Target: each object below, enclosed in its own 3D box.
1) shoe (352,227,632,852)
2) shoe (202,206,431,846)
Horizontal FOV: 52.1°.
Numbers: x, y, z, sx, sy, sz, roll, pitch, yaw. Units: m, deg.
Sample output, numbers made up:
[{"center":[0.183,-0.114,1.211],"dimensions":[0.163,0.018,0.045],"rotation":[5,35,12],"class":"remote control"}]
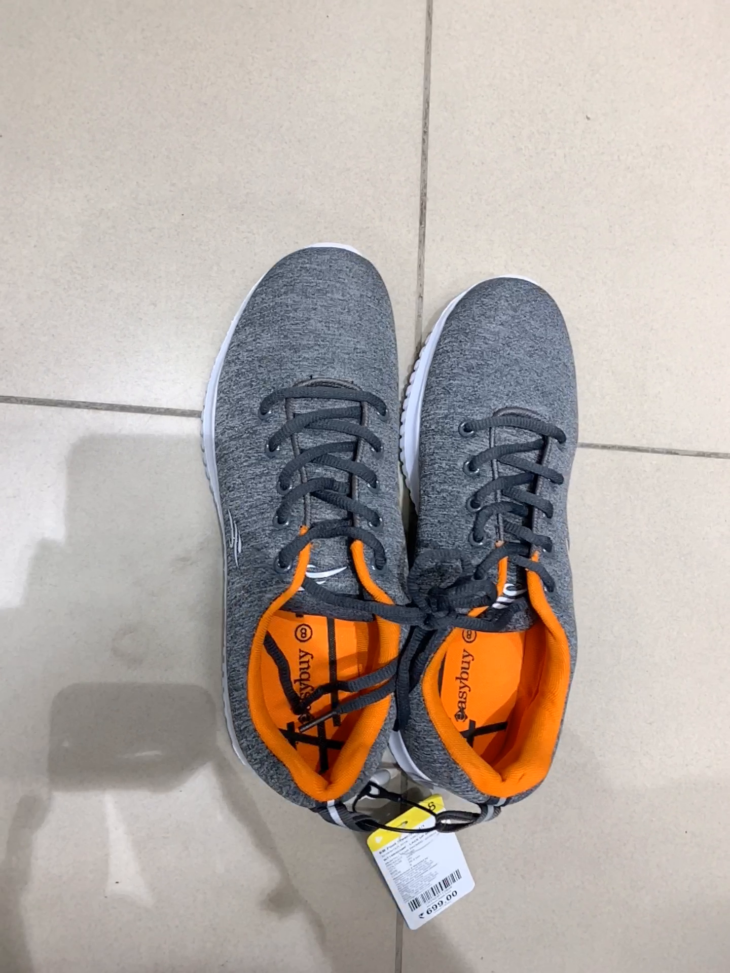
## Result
[{"center":[0.067,0.028,0.414],"dimensions":[0.100,0.090,0.300],"rotation":[7,85,-13],"class":"shoe"},{"center":[-0.028,0.017,0.382],"dimensions":[0.100,0.090,0.280],"rotation":[1,86,-14],"class":"shoe"}]
